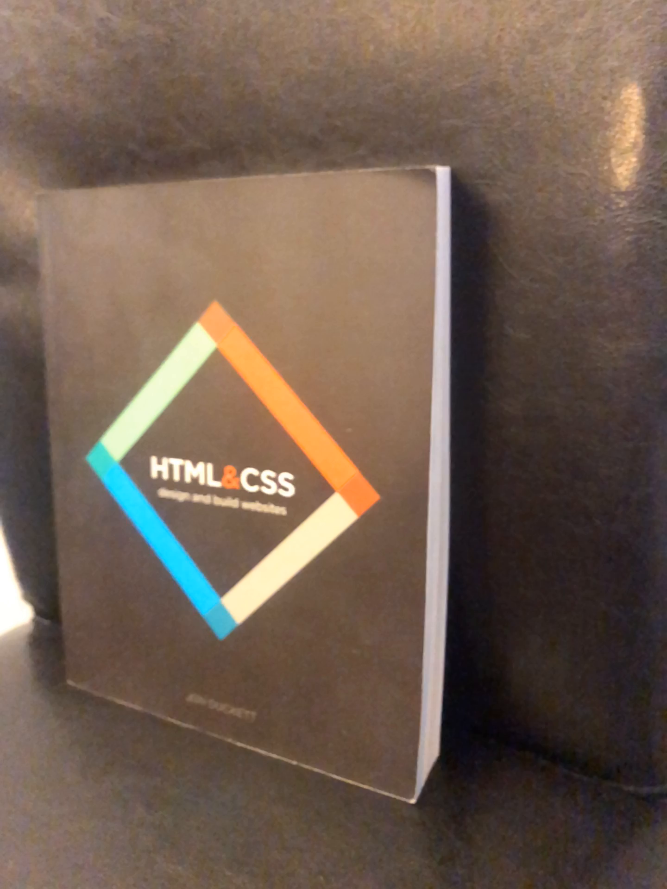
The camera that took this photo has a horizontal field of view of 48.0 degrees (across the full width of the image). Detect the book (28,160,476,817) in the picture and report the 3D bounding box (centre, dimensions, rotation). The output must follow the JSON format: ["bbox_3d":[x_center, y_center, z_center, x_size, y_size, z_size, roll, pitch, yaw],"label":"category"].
[{"bbox_3d":[-0.041,0.012,0.312,0.188,0.231,0.030,6,12,27],"label":"book"}]
